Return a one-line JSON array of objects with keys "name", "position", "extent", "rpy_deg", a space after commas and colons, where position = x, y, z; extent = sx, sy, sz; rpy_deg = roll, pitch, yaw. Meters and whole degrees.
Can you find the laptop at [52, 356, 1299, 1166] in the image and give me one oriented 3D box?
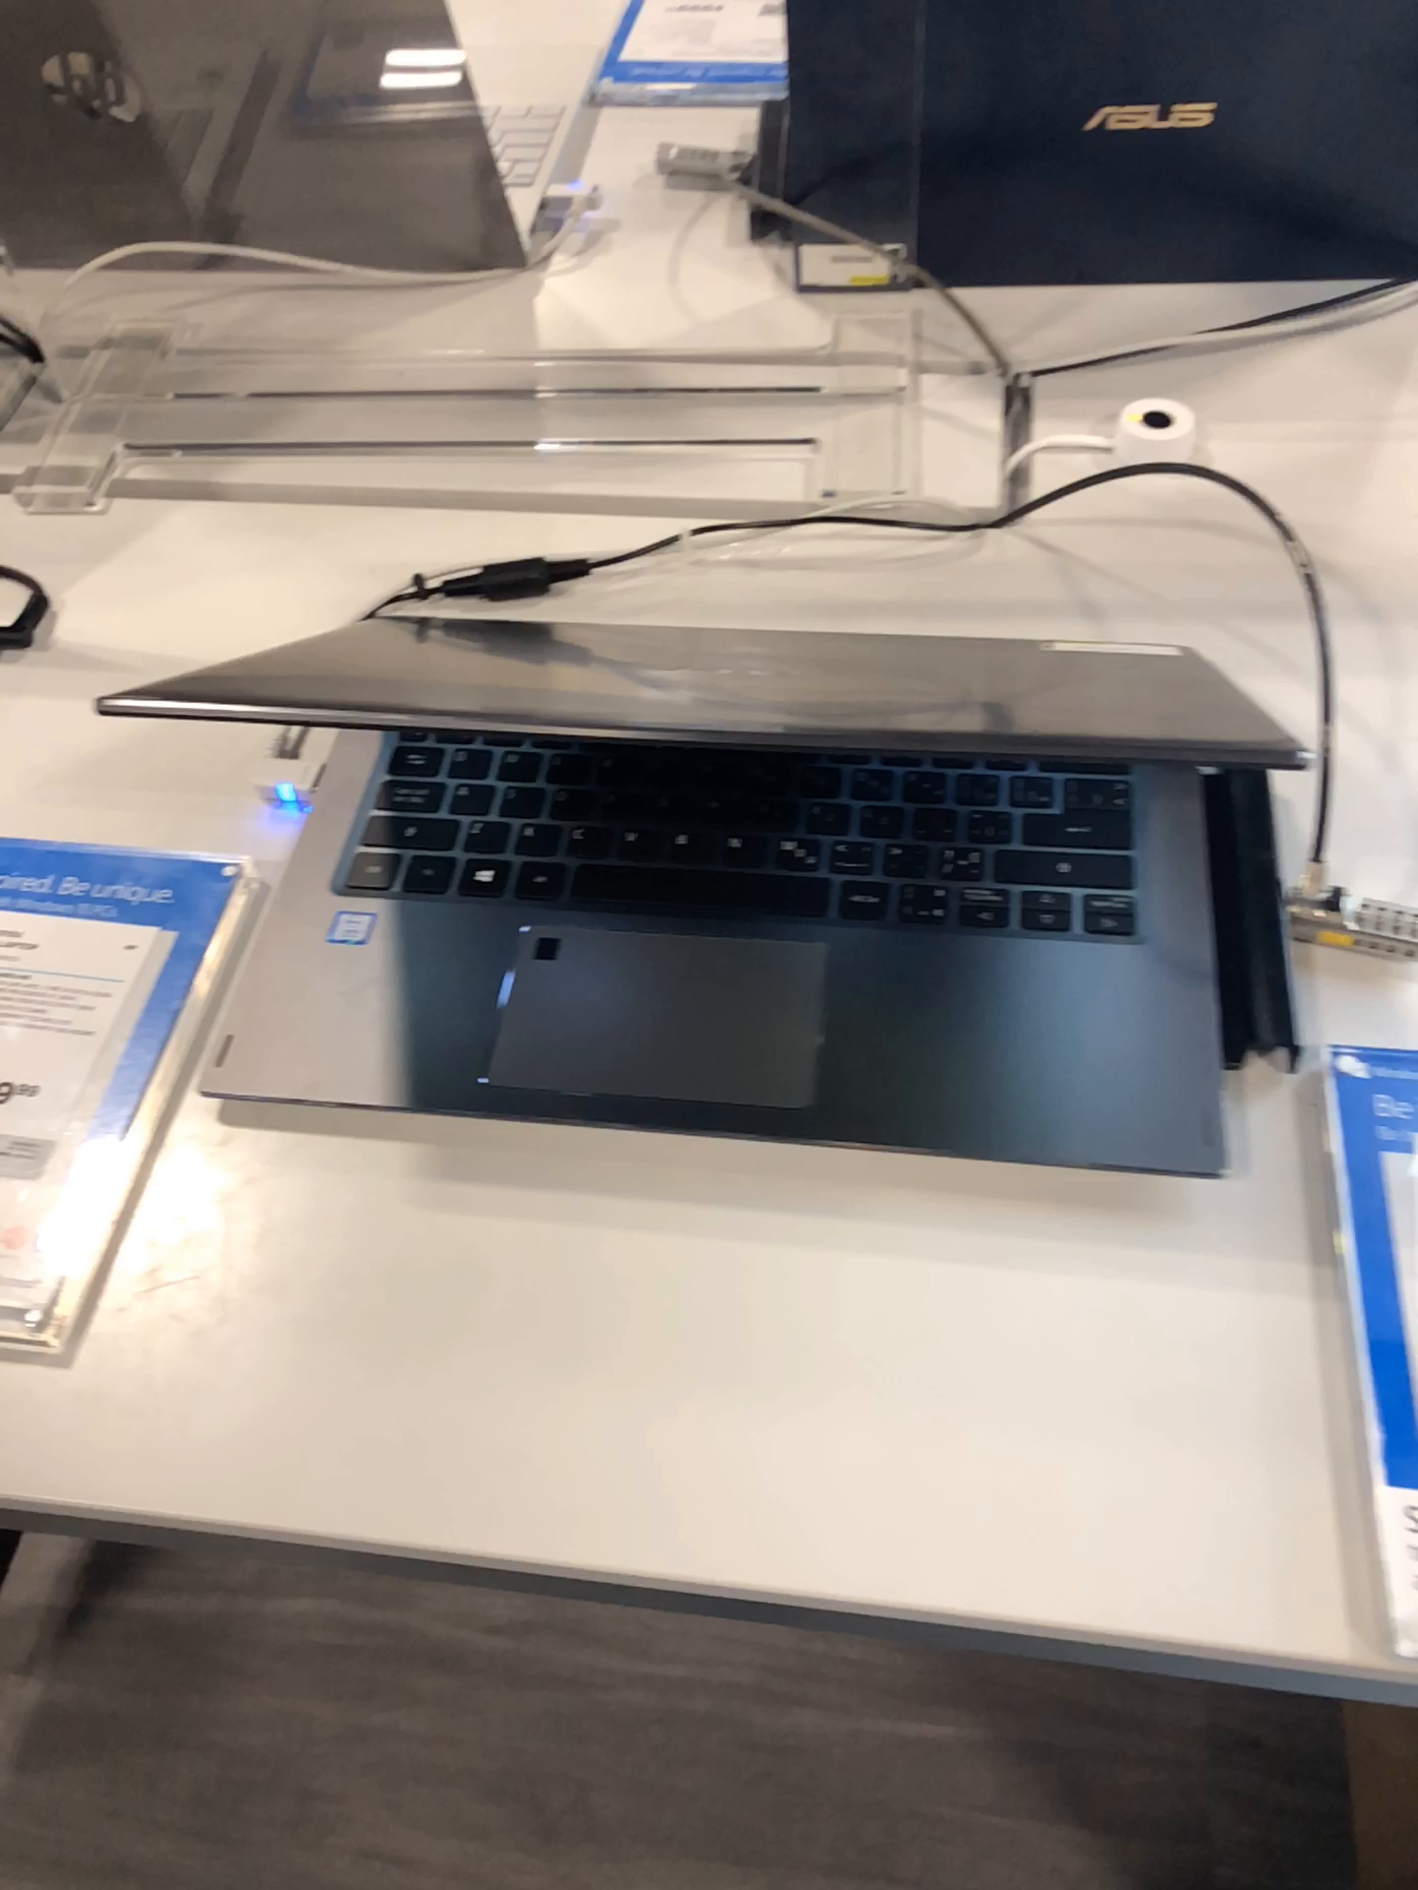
[{"name": "laptop", "position": [0.004, -0.066, 0.483], "extent": [0.301, 0.123, 0.212], "rpy_deg": [4, 53, 8]}]
